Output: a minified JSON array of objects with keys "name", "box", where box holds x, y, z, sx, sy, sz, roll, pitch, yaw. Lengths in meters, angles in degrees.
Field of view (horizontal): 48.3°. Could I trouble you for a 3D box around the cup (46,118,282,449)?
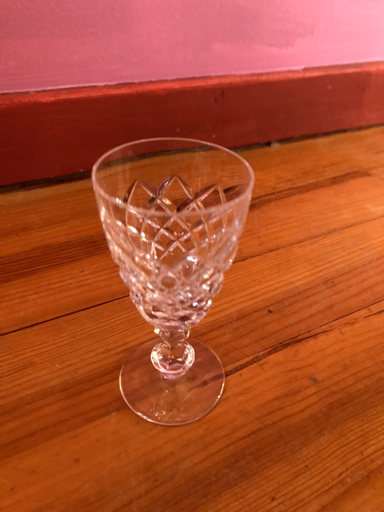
[{"name":"cup","box":[-0.007,0.013,0.175,0.059,0.113,0.057,1,37,-1]}]
